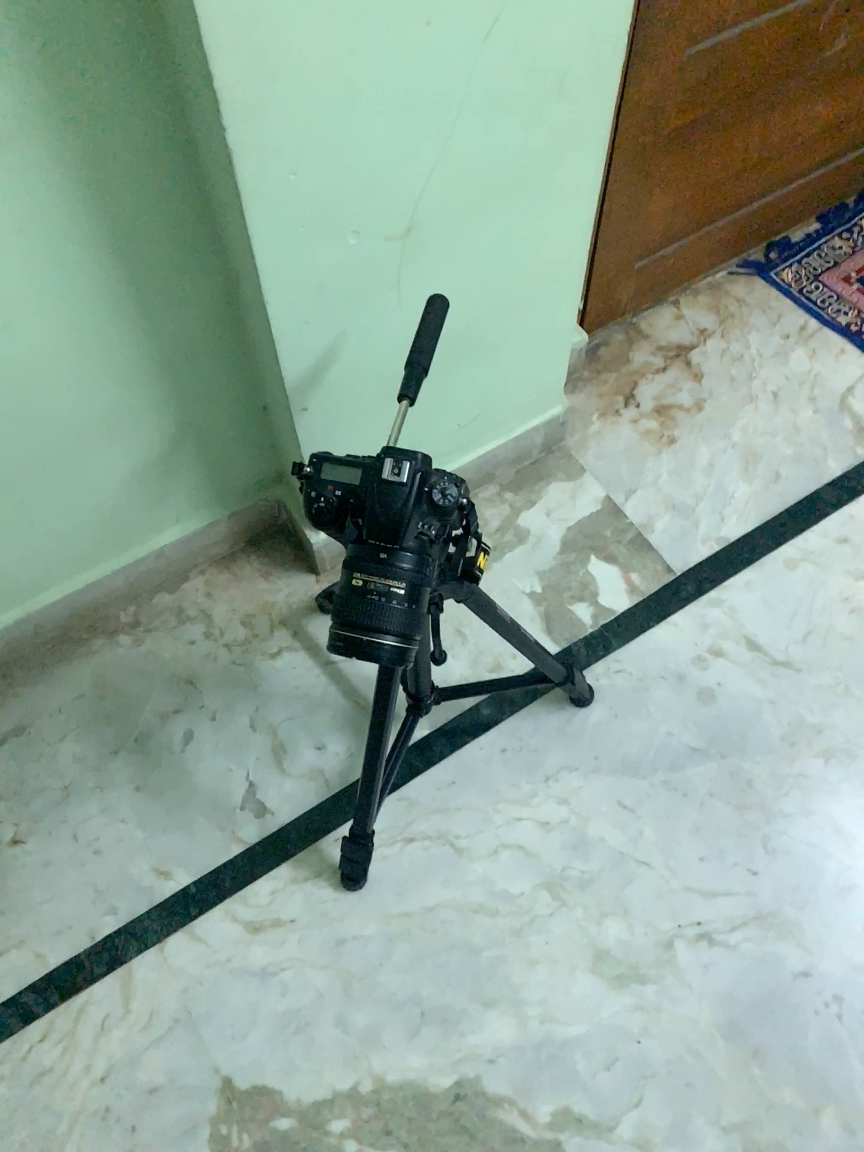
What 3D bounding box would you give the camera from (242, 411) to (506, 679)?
[{"bbox_3d":[-0.042,-0.022,0.745,0.170,0.110,0.180,13,86,8],"label":"camera"}]
